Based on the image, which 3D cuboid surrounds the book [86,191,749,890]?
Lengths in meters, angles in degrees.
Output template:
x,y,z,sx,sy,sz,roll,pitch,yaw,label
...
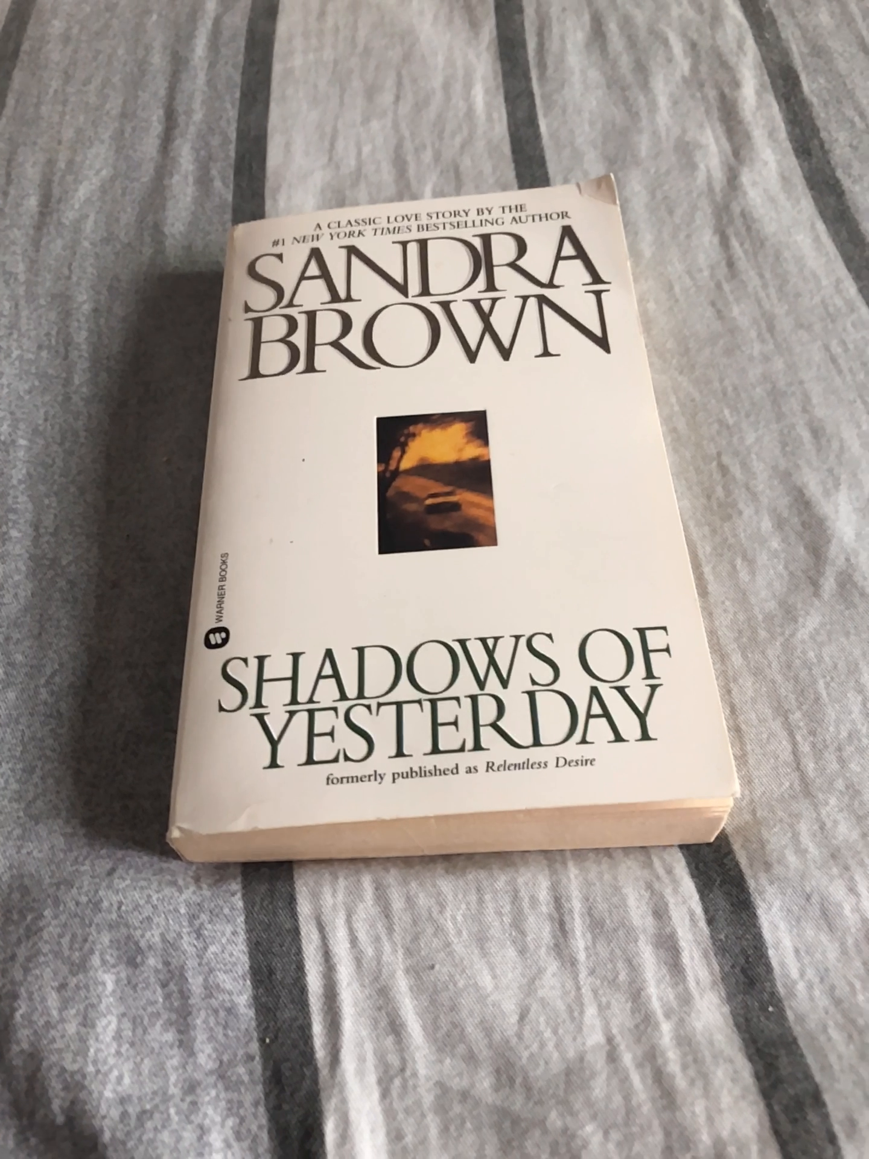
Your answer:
x,y,z,sx,sy,sz,roll,pitch,yaw,label
-0.005,-0.022,0.234,0.120,0.030,0.181,-1,59,-1,book
